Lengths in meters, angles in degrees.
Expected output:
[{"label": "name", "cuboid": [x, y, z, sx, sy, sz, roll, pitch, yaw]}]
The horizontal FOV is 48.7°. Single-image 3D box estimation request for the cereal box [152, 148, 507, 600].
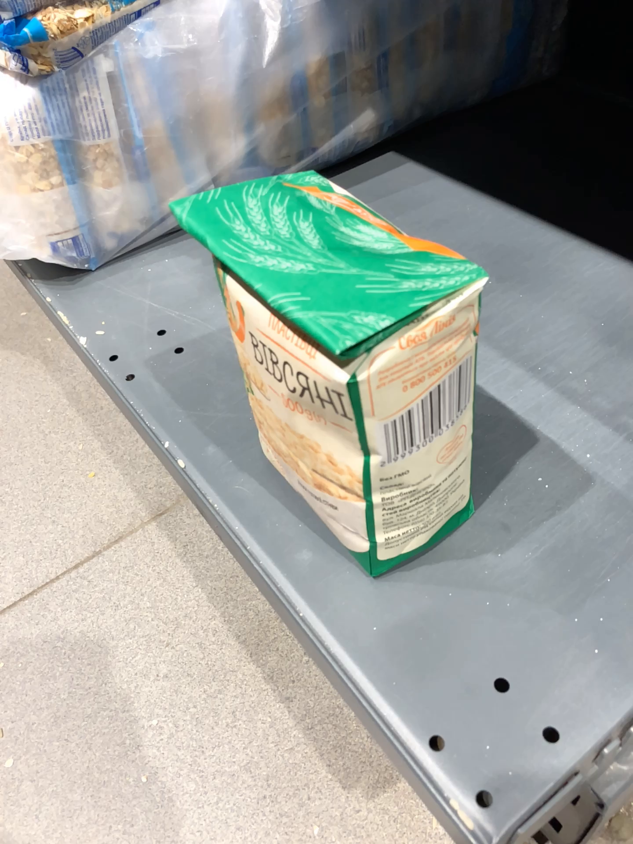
[{"label": "cereal box", "cuboid": [0.006, -0.020, 0.302, 0.070, 0.139, 0.121, -32, 50, -20]}]
